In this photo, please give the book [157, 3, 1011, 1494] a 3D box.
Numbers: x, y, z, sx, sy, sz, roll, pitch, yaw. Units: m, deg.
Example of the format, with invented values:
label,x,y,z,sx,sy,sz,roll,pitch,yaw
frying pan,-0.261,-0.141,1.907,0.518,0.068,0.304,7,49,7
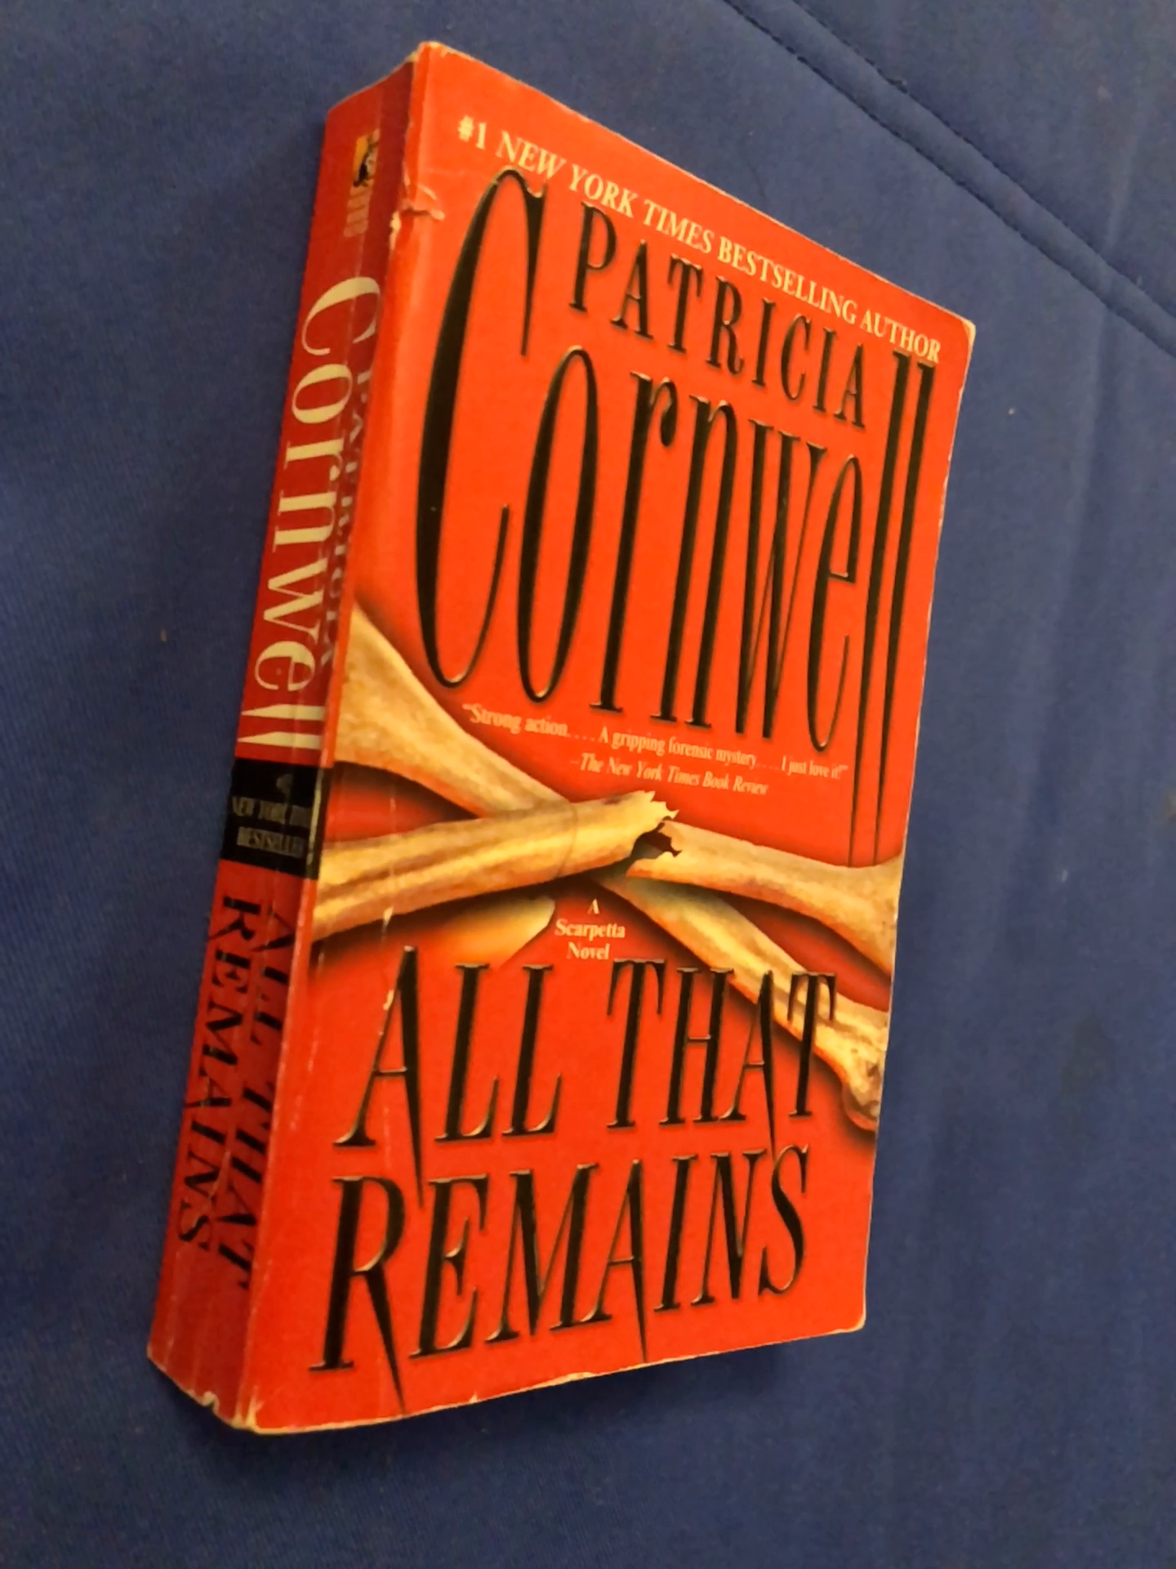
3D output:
label,x,y,z,sx,sy,sz,roll,pitch,yaw
book,0.007,0.000,0.191,0.110,0.030,0.166,8,88,-39
